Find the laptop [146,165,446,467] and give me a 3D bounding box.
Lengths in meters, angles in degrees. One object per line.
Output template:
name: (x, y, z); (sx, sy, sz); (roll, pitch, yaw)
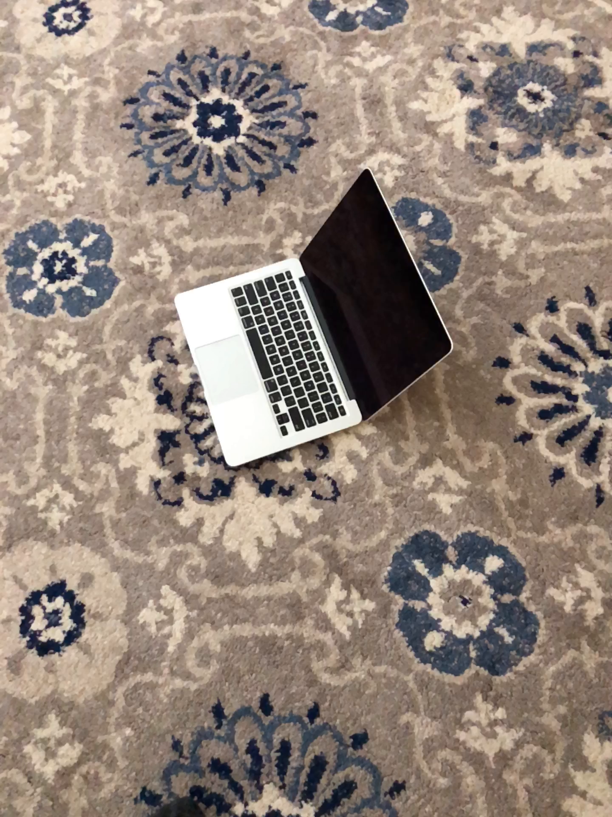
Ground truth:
laptop: (-0.016, -0.131, 0.975); (0.321, 0.171, 0.300); (-19, 71, -7)
